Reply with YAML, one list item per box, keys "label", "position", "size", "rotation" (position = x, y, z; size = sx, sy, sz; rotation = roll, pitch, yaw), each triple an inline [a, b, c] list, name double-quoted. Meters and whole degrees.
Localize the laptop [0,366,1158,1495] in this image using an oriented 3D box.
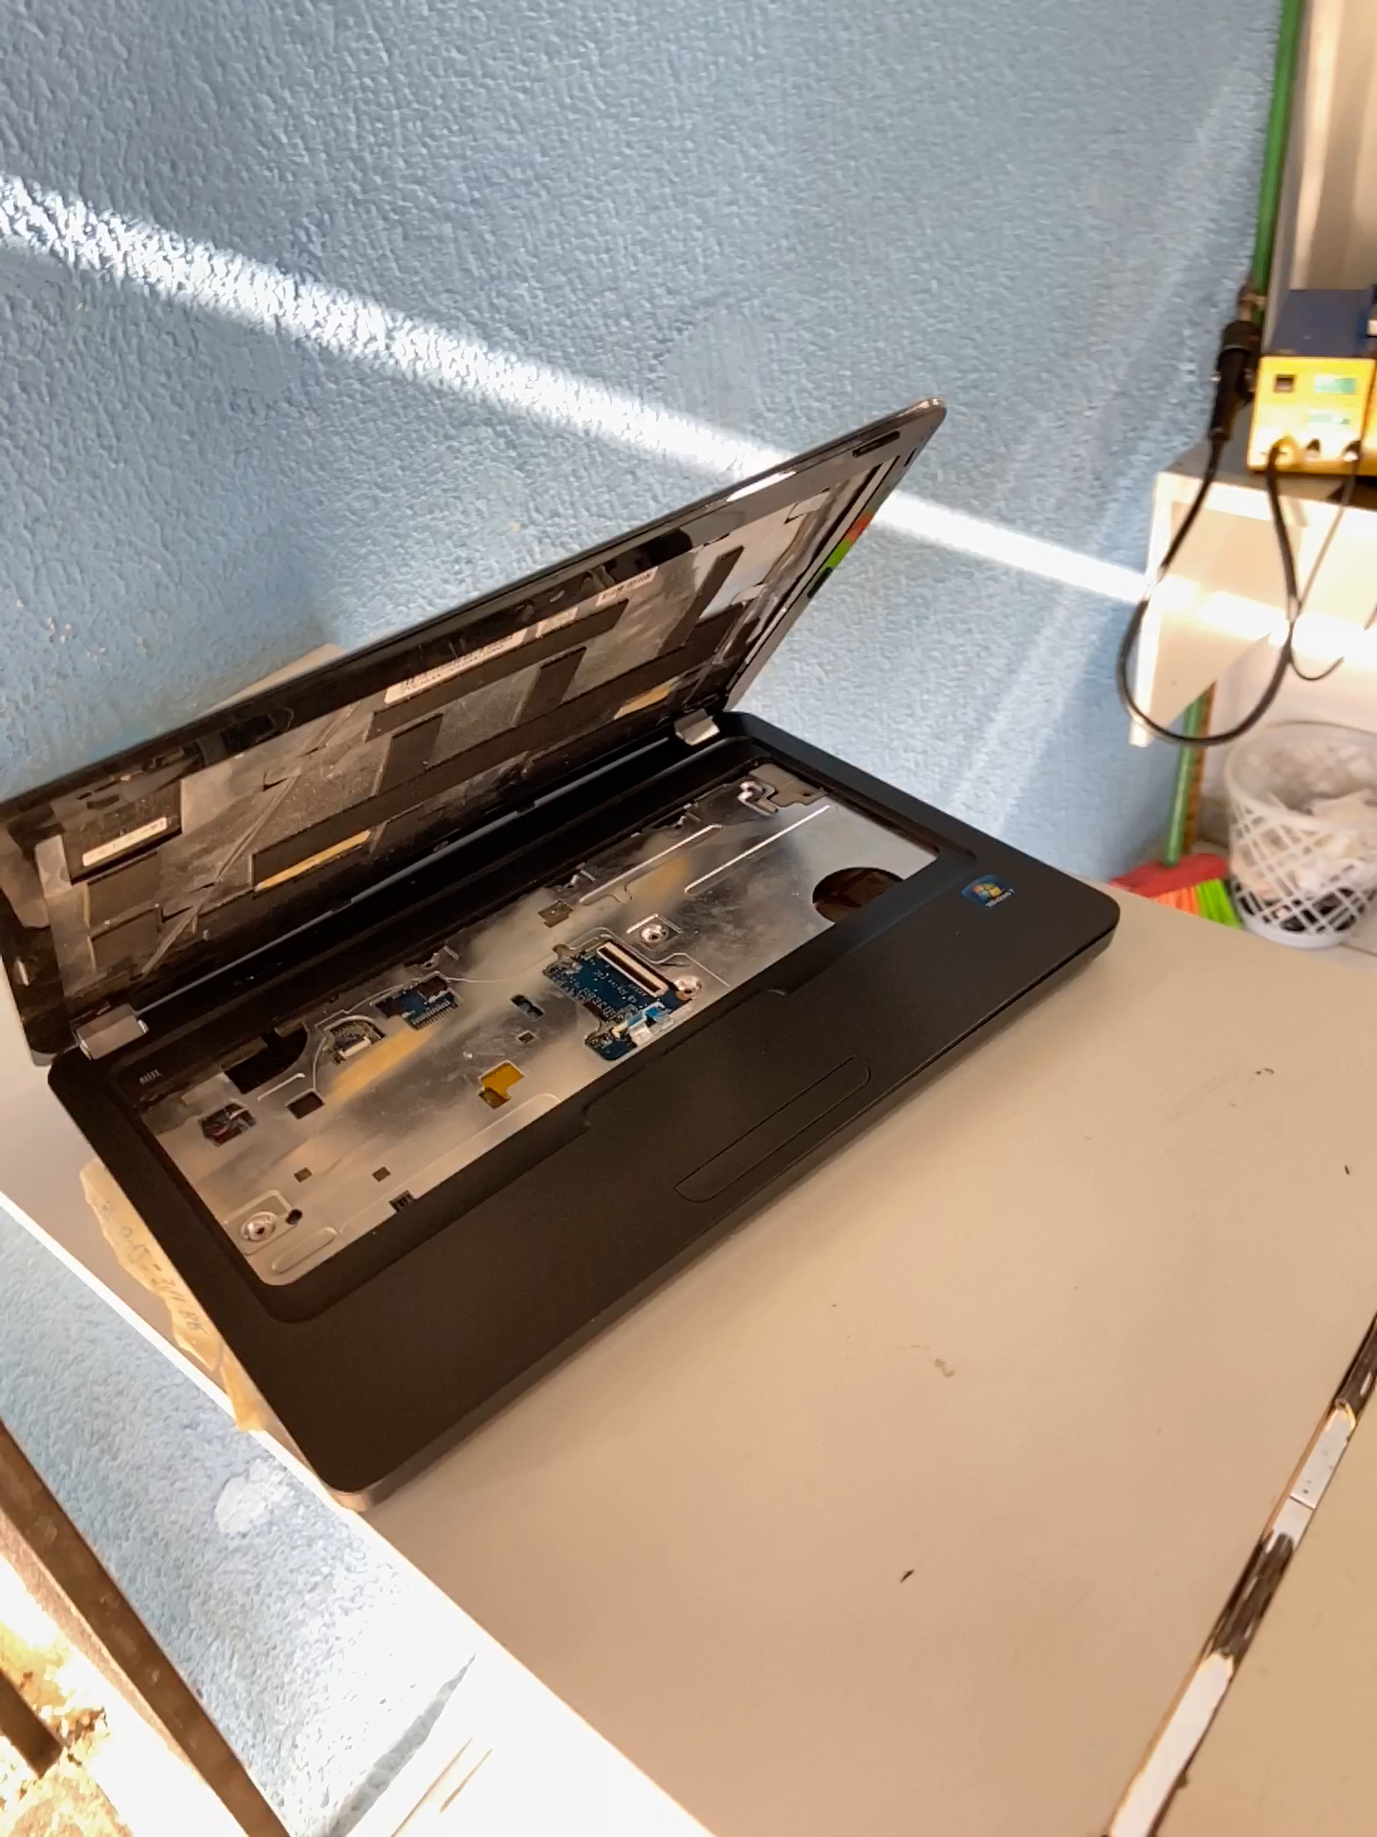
- label: "laptop"
  position: [-0.045, -0.038, 0.461]
  size: [0.327, 0.153, 0.223]
  rotation: [-31, 43, -28]
